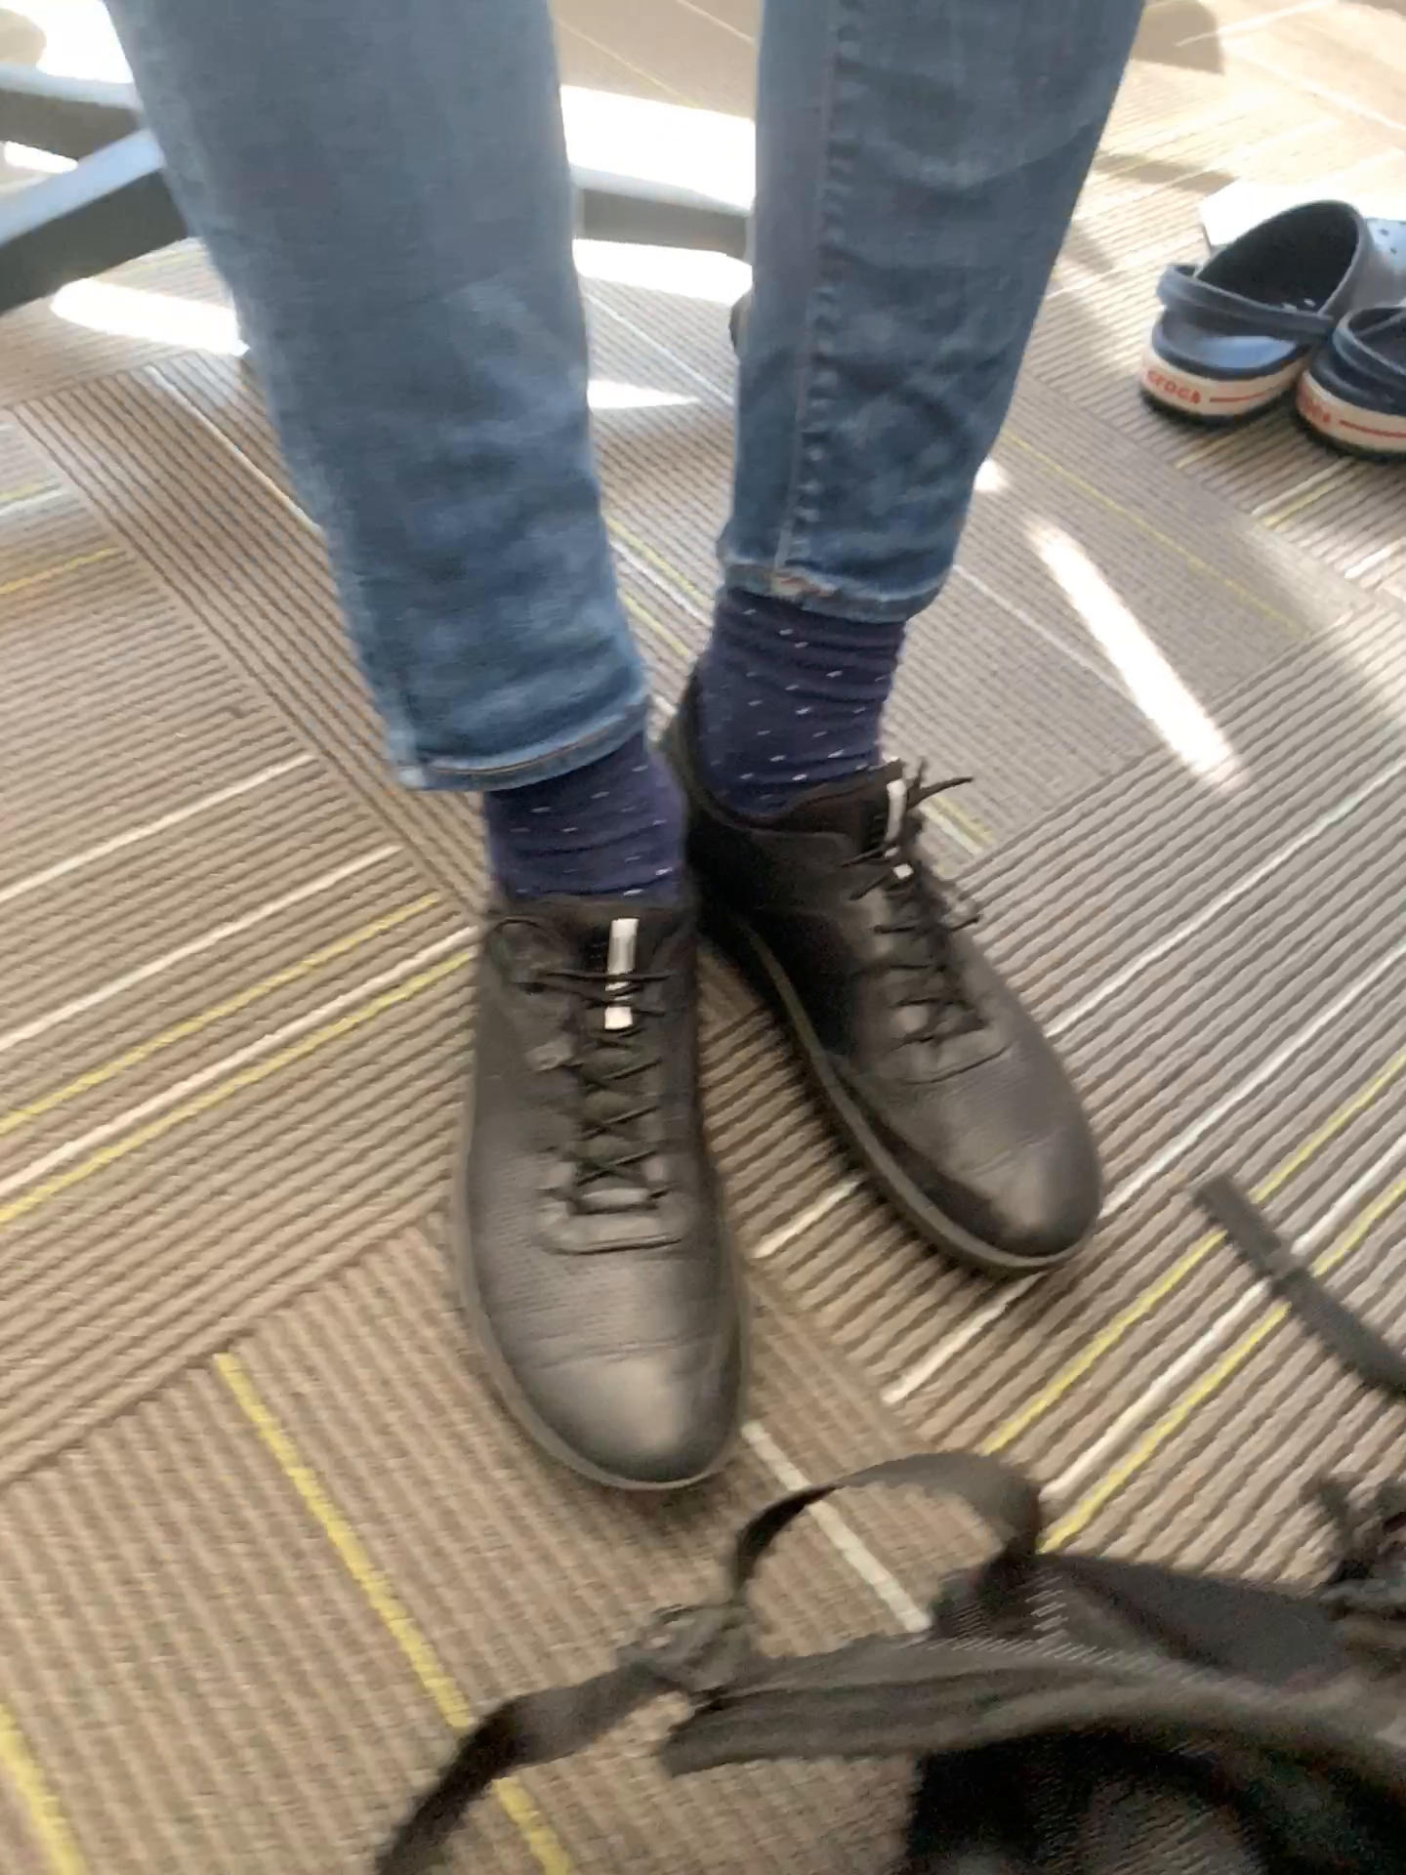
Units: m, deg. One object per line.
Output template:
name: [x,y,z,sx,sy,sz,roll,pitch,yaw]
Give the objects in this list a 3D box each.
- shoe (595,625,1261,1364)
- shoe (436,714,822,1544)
shoe: [0.077,0.009,0.632,0.110,0.100,0.311,-22,57,-23]
shoe: [-0.044,0.057,0.569,0.110,0.100,0.311,-2,52,-9]
